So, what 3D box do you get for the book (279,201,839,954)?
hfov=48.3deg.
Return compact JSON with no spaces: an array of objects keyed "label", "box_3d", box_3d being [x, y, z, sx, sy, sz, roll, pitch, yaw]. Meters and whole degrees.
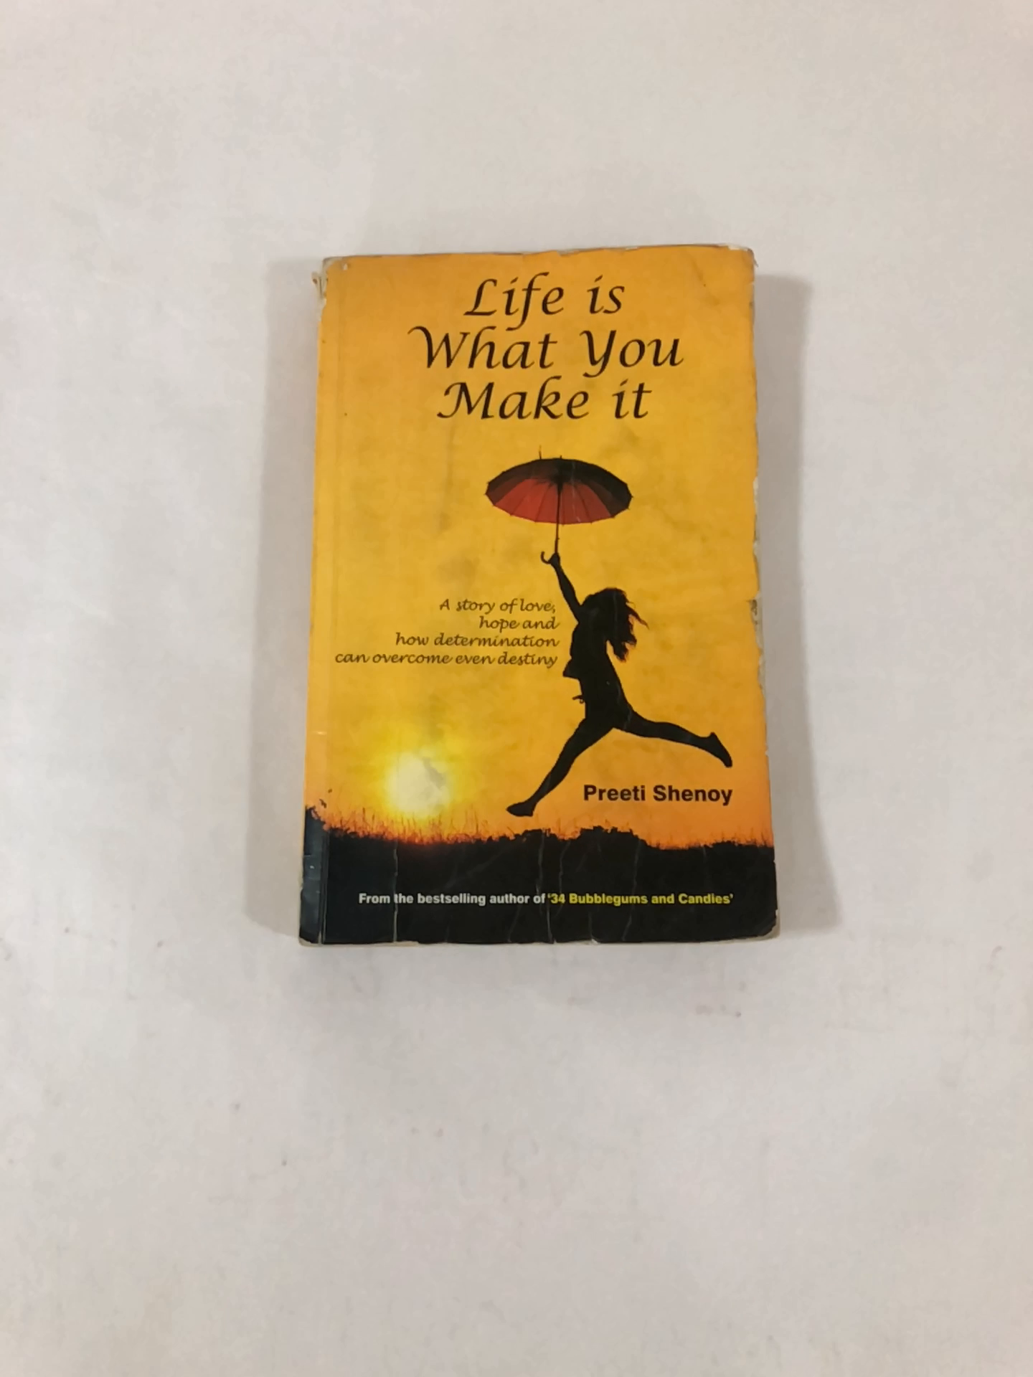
[{"label":"book","box_3d":[0.010,-0.035,0.319,0.140,0.020,0.210,0,78,-1]}]
